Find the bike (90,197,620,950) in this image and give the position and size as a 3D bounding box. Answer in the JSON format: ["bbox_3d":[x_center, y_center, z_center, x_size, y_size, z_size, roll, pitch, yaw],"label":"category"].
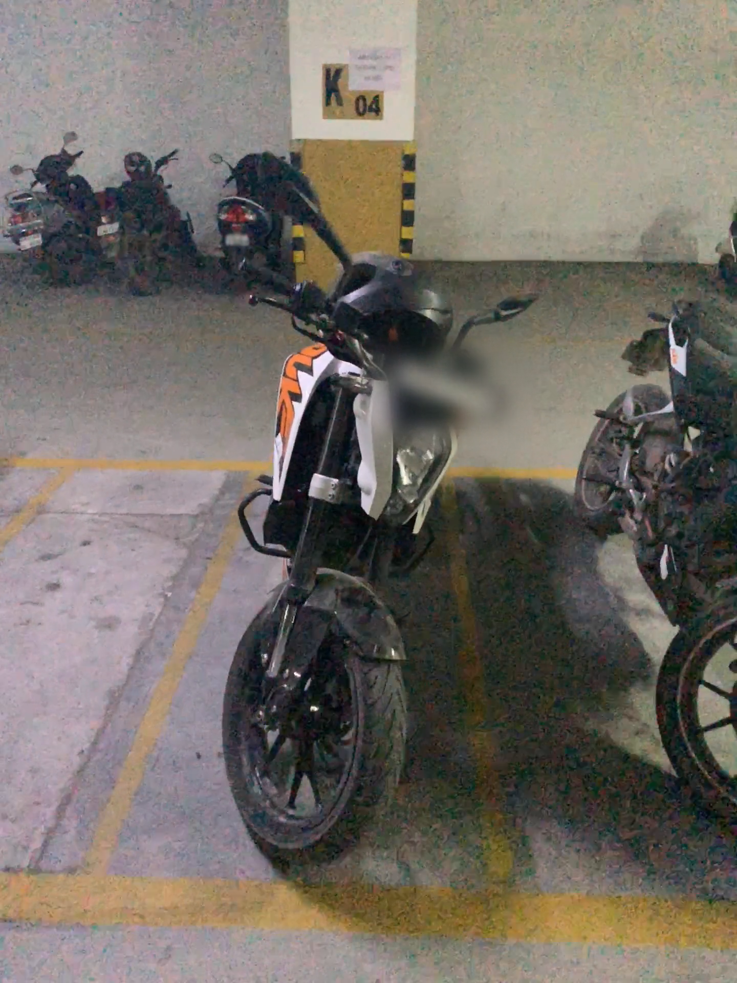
[{"bbox_3d":[0.006,-0.037,2.206,0.803,1.182,1.922,1,30,1],"label":"bike"}]
